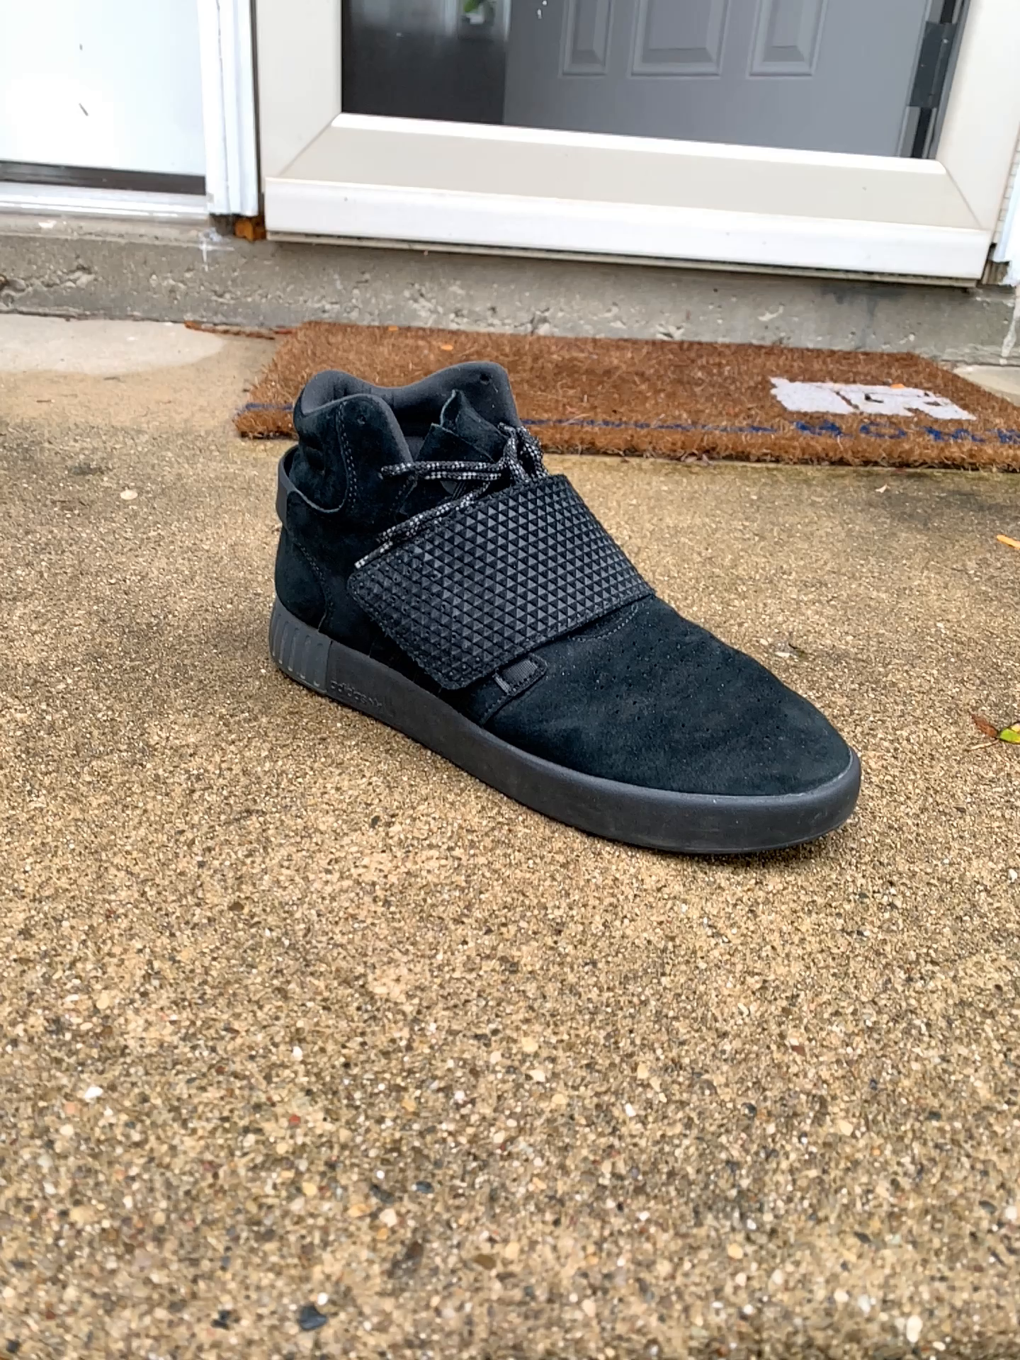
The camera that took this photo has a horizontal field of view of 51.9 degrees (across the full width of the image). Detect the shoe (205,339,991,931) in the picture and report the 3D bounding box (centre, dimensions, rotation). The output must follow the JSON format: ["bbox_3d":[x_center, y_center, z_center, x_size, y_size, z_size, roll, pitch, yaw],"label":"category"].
[{"bbox_3d":[0.019,-0.043,0.444,0.291,0.141,0.119,21,31,29],"label":"shoe"}]
